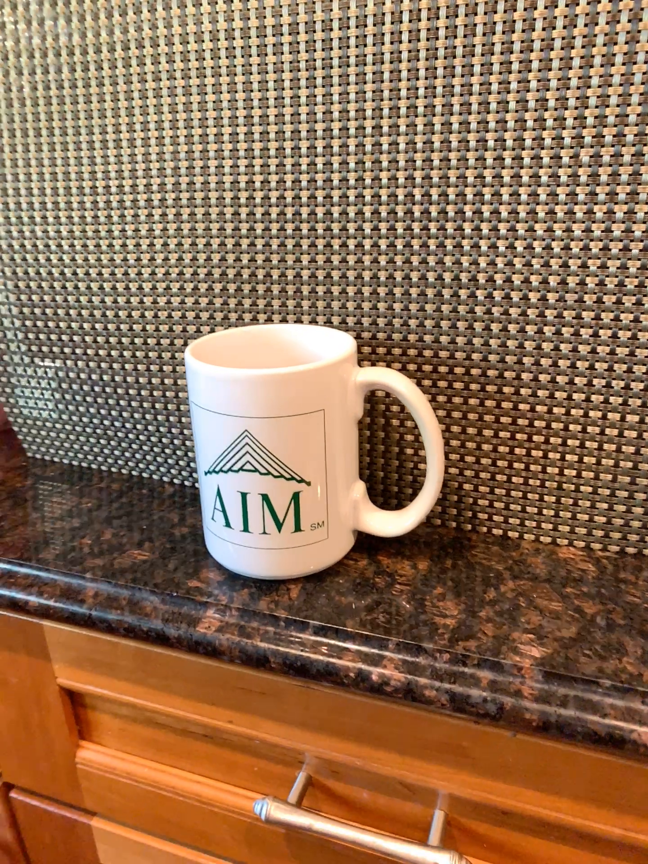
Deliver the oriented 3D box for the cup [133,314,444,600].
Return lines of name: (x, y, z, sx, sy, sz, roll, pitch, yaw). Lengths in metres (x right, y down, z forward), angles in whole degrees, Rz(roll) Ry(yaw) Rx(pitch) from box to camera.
cup: (-0.008, 0.006, 0.336, 0.130, 0.109, 0.090, 2, 23, 10)
